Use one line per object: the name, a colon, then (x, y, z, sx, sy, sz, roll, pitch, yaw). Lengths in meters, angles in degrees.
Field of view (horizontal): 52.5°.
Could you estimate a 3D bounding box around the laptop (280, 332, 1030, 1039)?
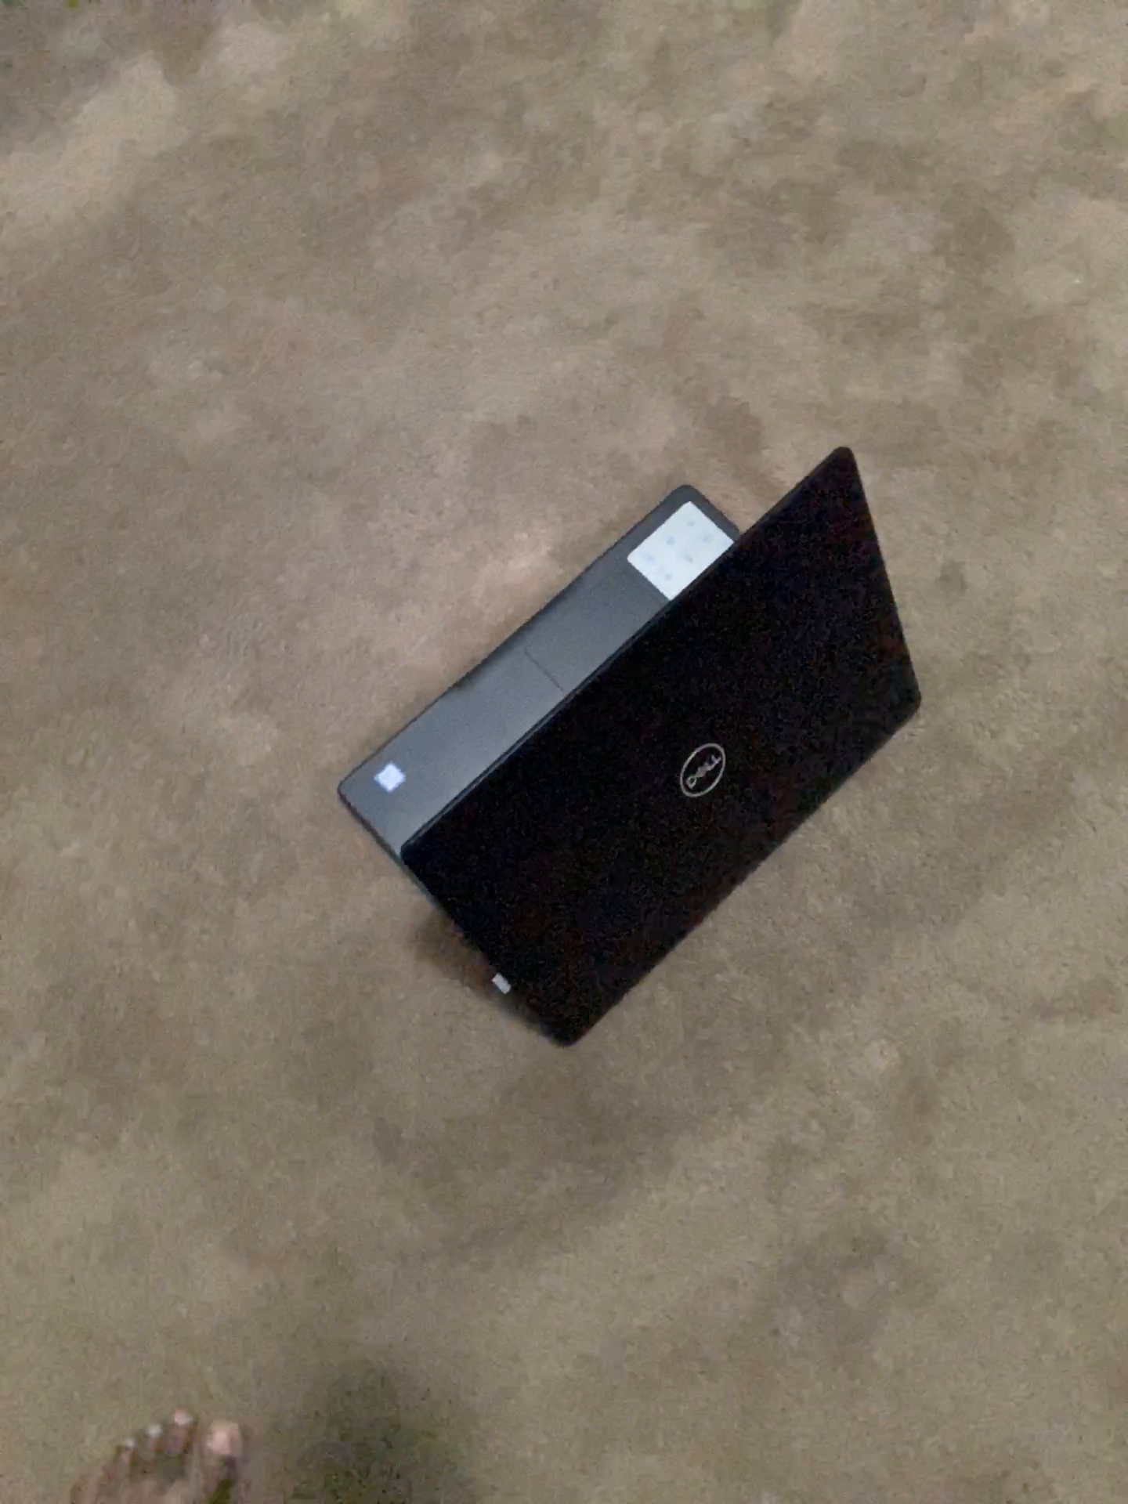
laptop: (0.054, -0.033, 0.778, 0.376, 0.202, 0.251, -42, 78, -9)
